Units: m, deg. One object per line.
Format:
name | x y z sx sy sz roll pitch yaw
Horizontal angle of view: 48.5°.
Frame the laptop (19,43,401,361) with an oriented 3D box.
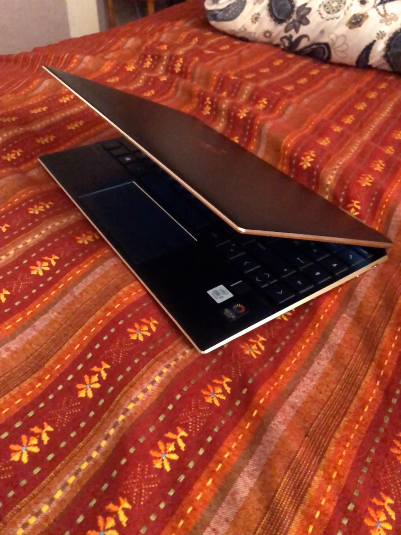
laptop | -0.007 -0.106 0.398 0.203 0.101 0.326 -20 44 -29
